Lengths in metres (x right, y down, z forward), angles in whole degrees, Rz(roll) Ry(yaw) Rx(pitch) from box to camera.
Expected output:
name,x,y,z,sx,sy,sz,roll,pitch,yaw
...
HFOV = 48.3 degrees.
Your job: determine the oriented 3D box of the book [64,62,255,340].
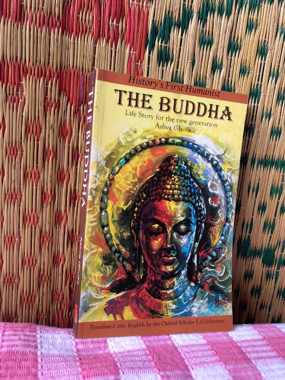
name,x,y,z,sx,sy,sz,roll,pitch,yaw
book,0.017,0.012,0.270,0.146,0.207,0.030,5,-2,-16
